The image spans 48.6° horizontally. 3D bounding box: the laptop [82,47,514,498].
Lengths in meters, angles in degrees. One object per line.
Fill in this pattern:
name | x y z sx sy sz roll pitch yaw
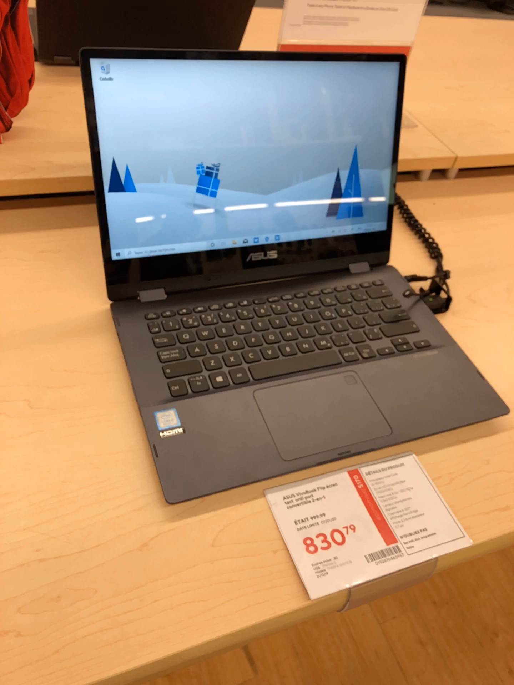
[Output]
laptop | 0.042 -0.089 0.492 0.313 0.188 0.314 -9 50 -20
